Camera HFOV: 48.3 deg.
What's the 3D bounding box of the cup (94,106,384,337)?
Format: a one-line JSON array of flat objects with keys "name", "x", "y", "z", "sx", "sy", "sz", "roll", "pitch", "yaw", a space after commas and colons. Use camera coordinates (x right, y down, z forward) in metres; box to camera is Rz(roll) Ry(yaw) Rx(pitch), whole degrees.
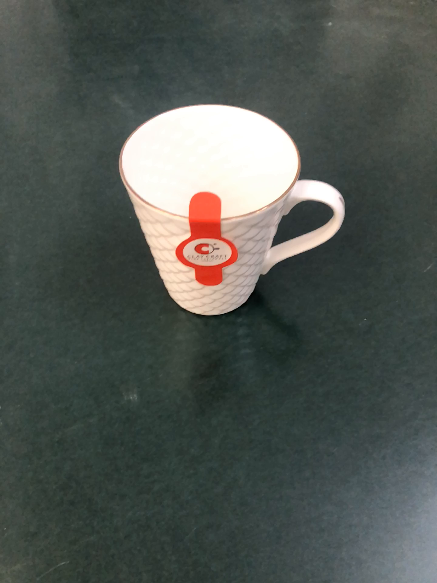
[{"name": "cup", "x": 0.009, "y": -0.035, "z": 0.262, "sx": 0.120, "sy": 0.090, "sz": 0.080, "roll": 1, "pitch": 53, "yaw": 1}]
